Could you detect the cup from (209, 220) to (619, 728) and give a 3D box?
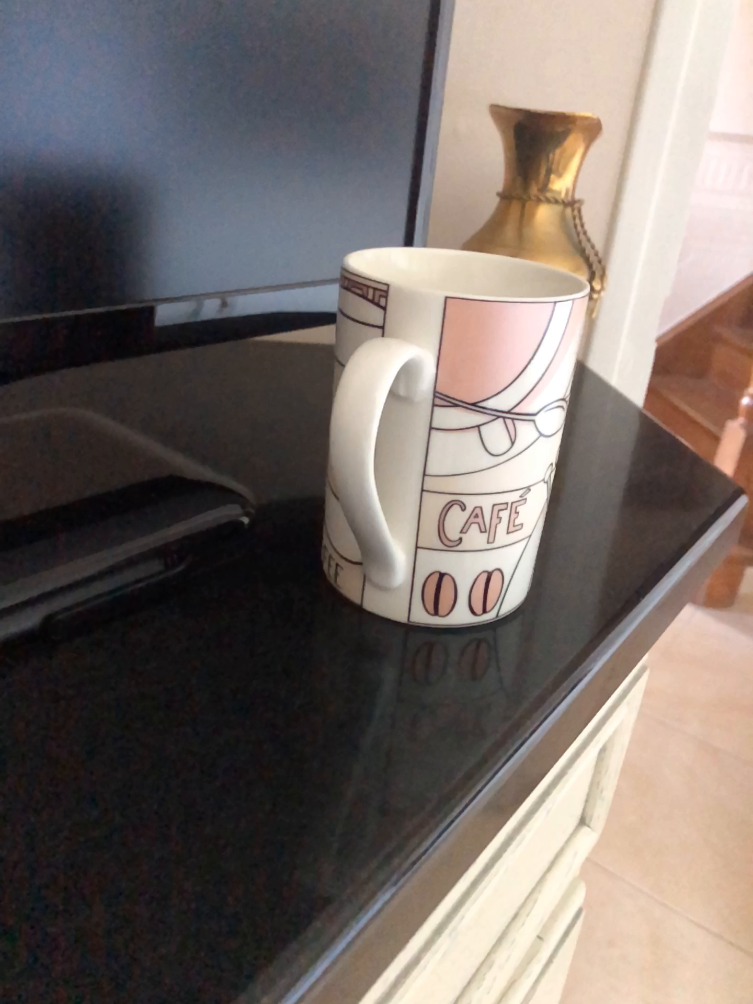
[{"bbox_3d":[0.013,-0.019,0.253,0.070,0.109,0.111,18,27,23],"label":"cup"}]
